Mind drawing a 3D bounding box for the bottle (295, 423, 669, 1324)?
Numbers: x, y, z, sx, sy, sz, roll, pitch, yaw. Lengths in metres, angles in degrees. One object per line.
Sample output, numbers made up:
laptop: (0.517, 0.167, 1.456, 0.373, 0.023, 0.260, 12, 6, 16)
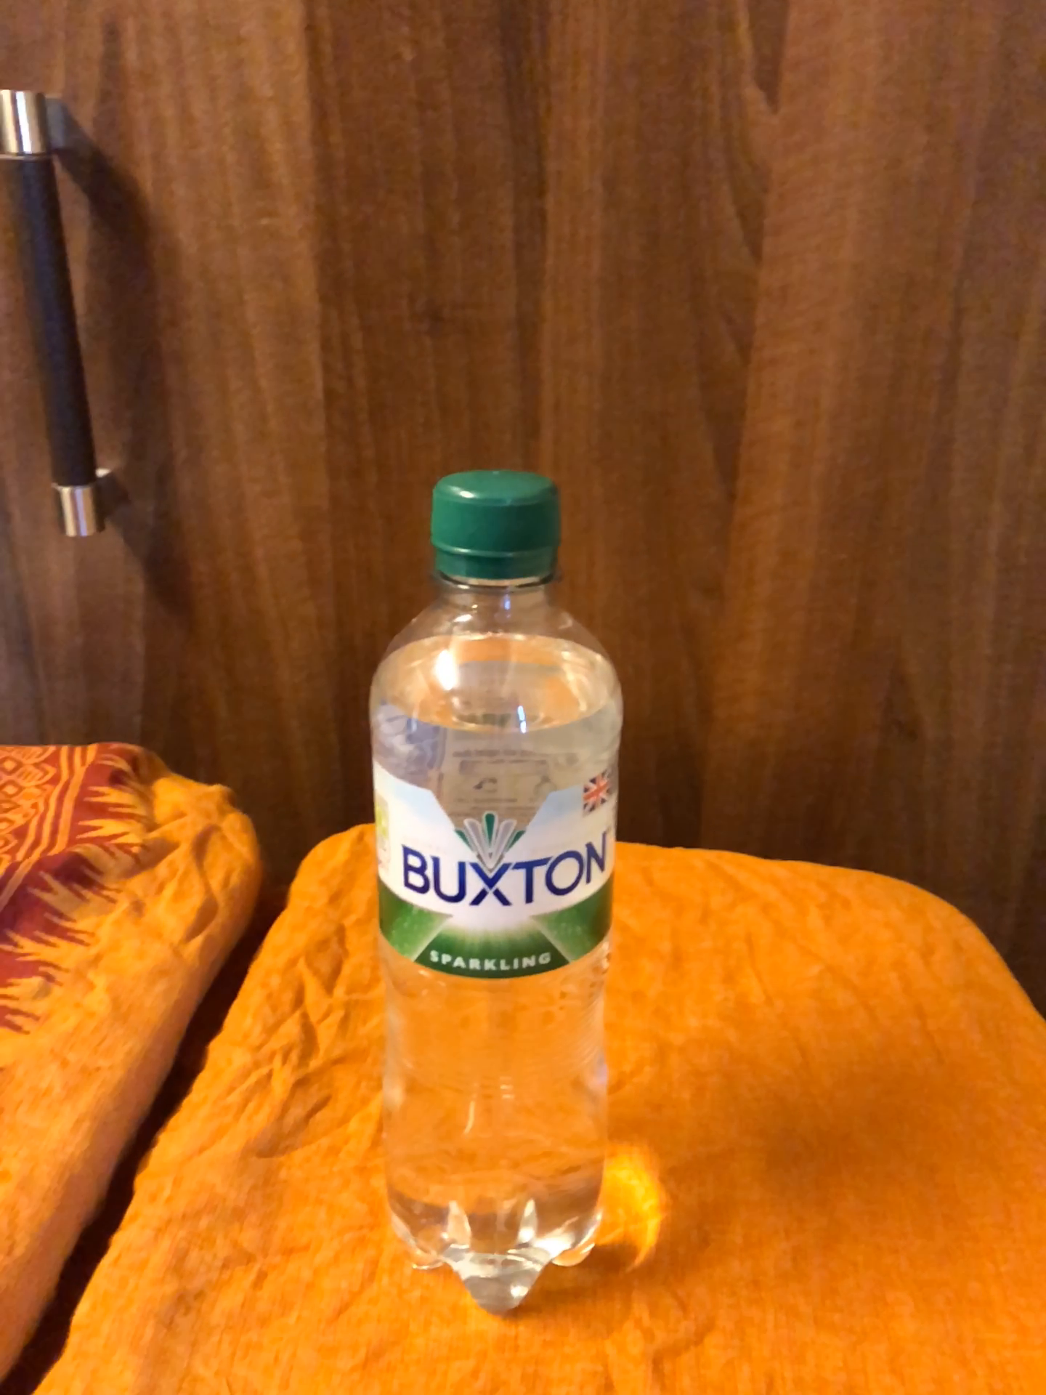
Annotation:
bottle: (-0.007, 0.049, 0.296, 0.070, 0.219, 0.070, 1, 25, -1)
